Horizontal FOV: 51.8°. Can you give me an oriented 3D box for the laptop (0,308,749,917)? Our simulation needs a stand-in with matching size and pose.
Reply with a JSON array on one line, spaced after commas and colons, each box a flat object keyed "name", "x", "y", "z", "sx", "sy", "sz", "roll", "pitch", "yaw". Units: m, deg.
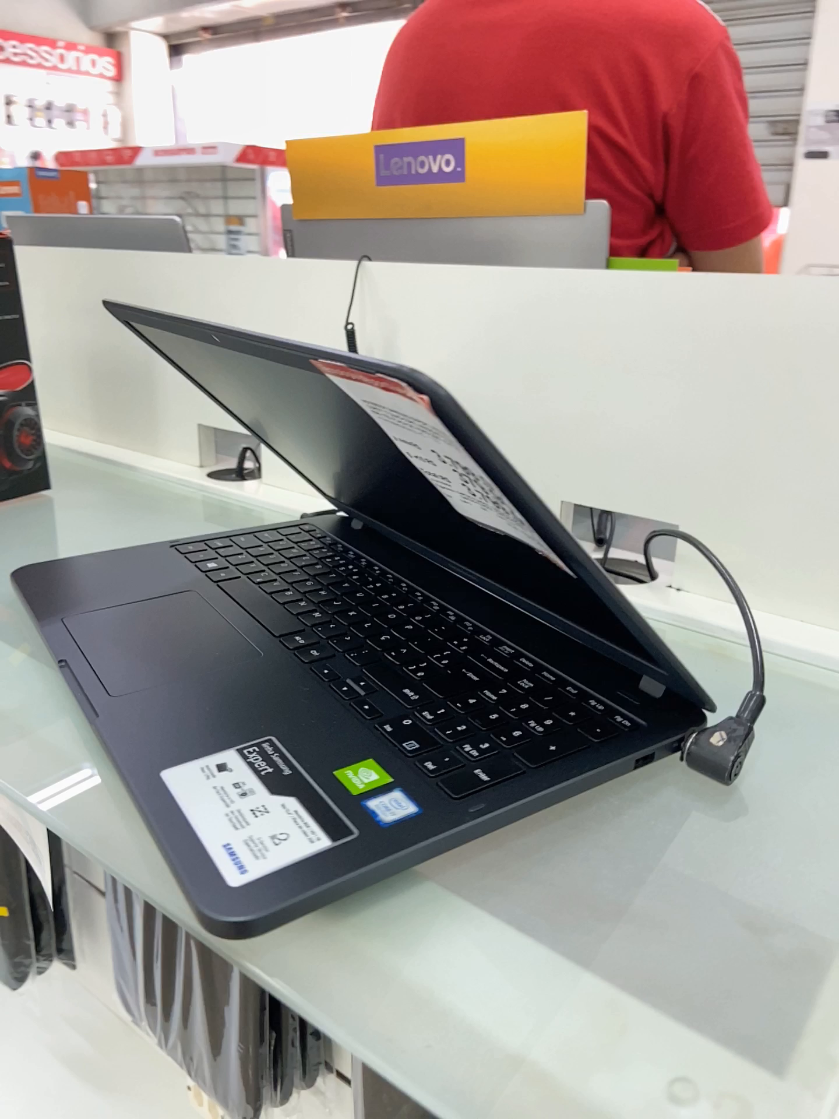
[{"name": "laptop", "x": -0.066, "y": -0.033, "z": 0.451, "sx": 0.231, "sy": 0.158, "sz": 0.358, "roll": -13, "pitch": 24, "yaw": -31}]
